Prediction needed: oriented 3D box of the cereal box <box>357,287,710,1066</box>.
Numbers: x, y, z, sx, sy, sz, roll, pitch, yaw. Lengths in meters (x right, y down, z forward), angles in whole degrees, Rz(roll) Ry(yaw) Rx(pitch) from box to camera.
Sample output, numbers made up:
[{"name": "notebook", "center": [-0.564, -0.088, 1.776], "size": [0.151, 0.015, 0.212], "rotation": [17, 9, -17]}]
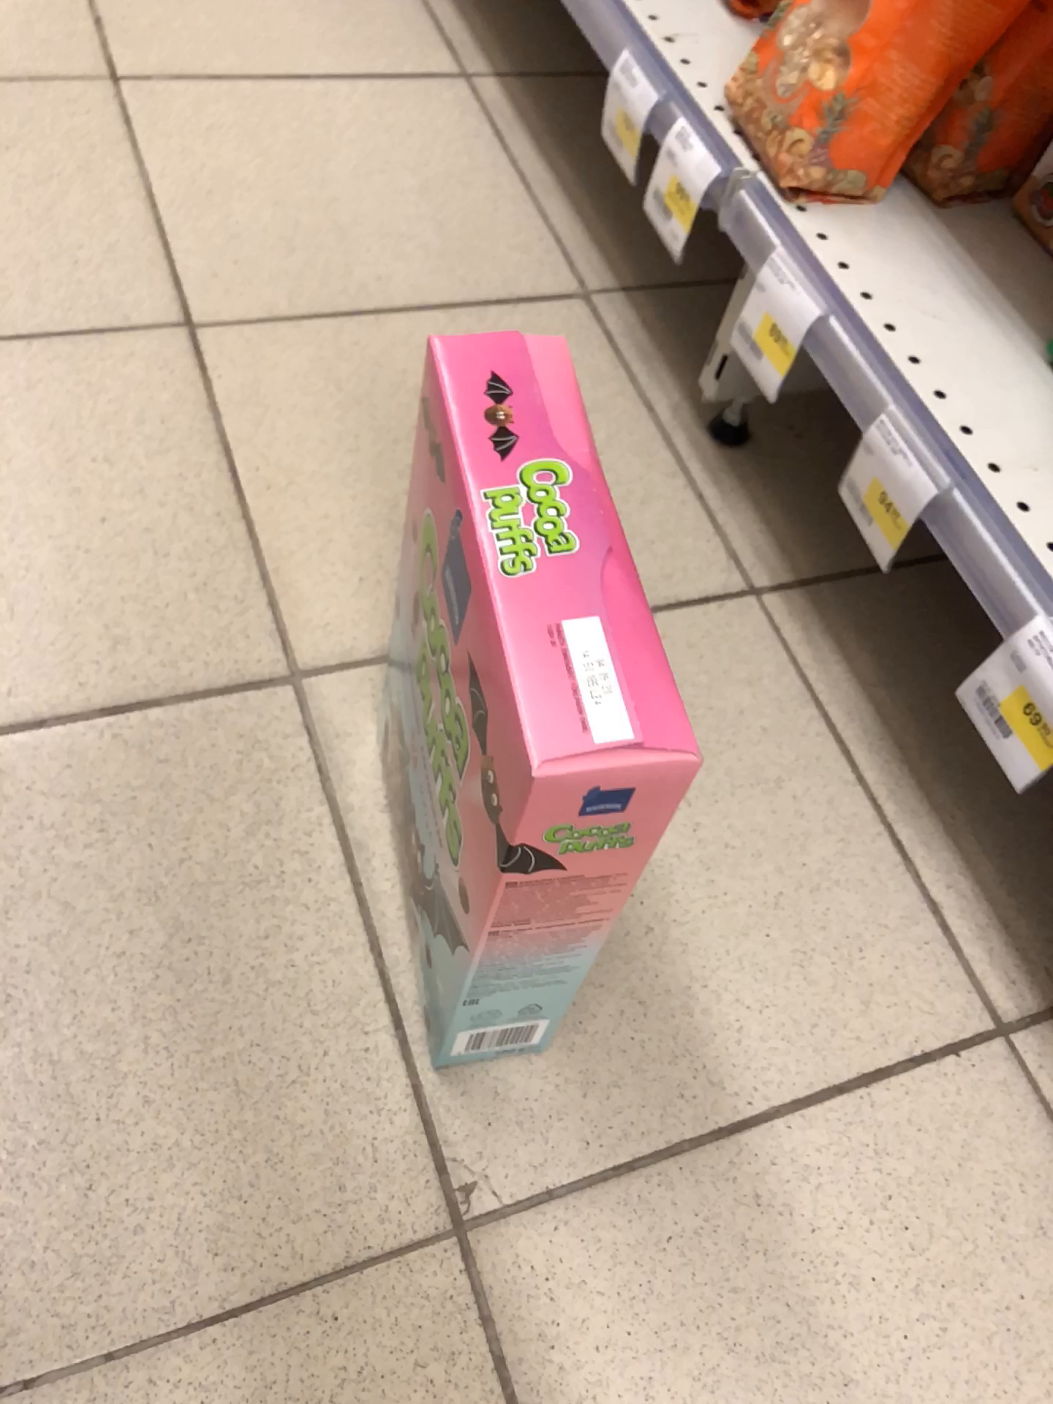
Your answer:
[{"name": "cereal box", "center": [-0.021, 0.005, 0.494], "size": [0.060, 0.269, 0.211], "rotation": [-5, 57, -15]}]
